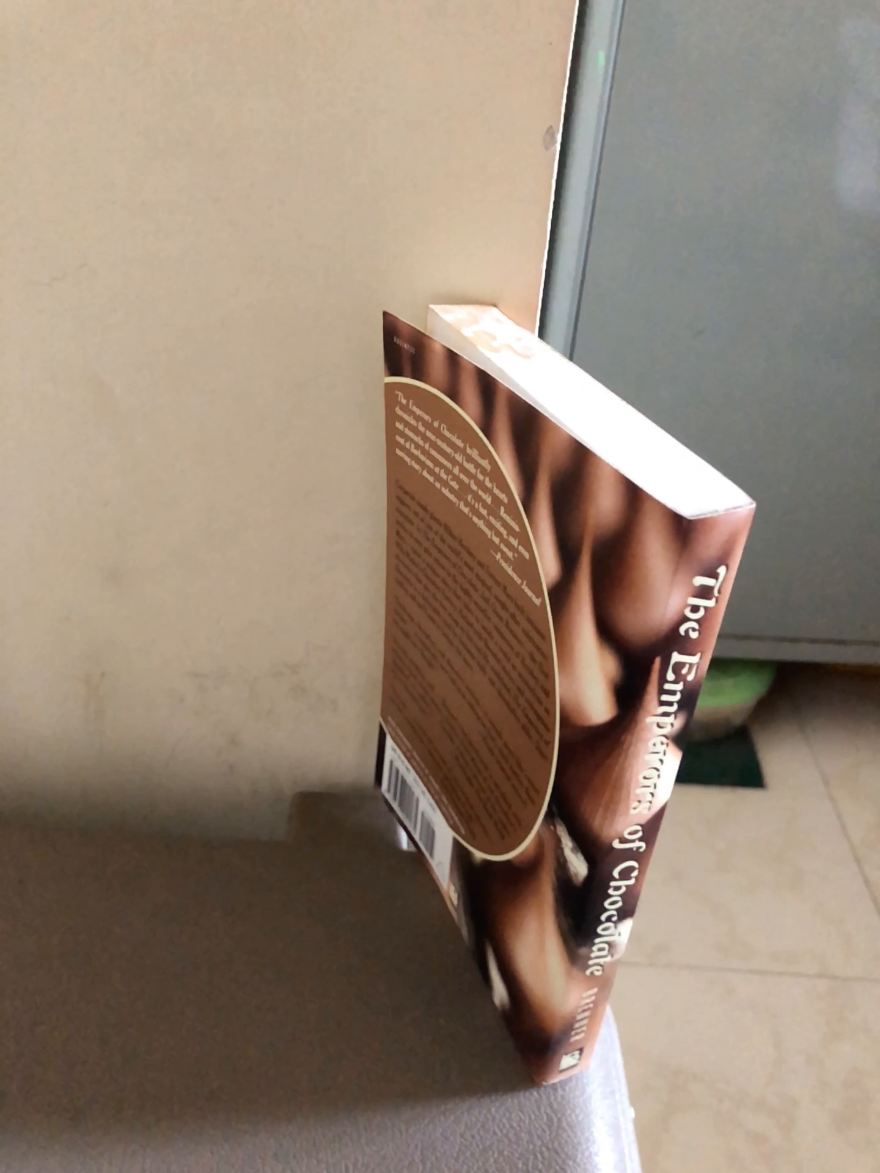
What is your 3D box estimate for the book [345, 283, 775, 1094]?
[{"bbox_3d":[0.015,0.027,0.315,0.040,0.199,0.161,-11,36,-21],"label":"book"}]
